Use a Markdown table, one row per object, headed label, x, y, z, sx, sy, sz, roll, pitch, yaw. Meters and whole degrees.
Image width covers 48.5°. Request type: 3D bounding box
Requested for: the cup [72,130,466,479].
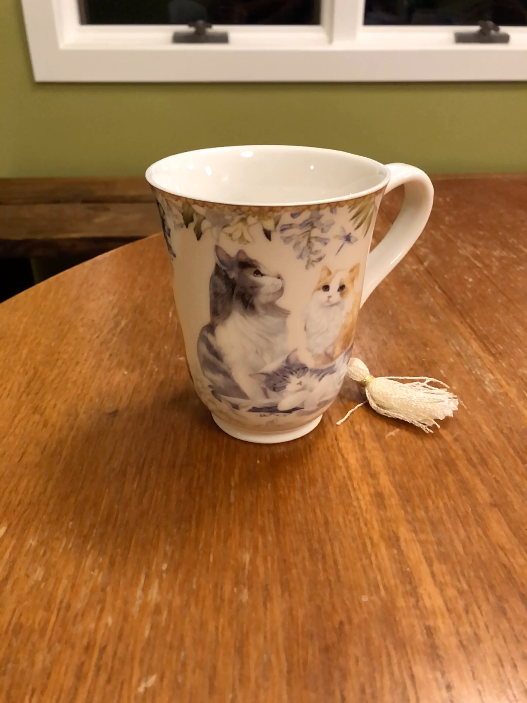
| label | x | y | z | sx | sy | sz | roll | pitch | yaw |
| --- | --- | --- | --- | --- | --- | --- | --- | --- | --- |
| cup | 0.008 | -0.035 | 0.261 | 0.094 | 0.092 | 0.136 | 25 | 38 | 36 |
